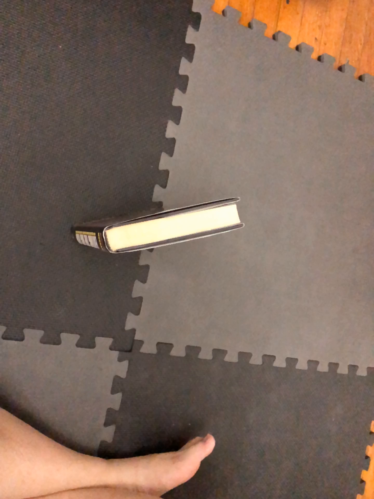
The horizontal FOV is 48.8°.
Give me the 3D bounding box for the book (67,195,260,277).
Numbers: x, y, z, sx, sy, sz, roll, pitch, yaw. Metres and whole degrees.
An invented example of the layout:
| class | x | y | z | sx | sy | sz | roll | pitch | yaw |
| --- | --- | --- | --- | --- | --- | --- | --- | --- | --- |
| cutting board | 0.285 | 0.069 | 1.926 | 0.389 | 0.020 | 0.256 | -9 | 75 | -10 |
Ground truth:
| class | x | y | z | sx | sy | sz | roll | pitch | yaw |
| --- | --- | --- | --- | --- | --- | --- | --- | --- | --- |
| book | -0.051 | -0.028 | 0.564 | 0.180 | 0.259 | 0.050 | -14 | 100 | -21 |
